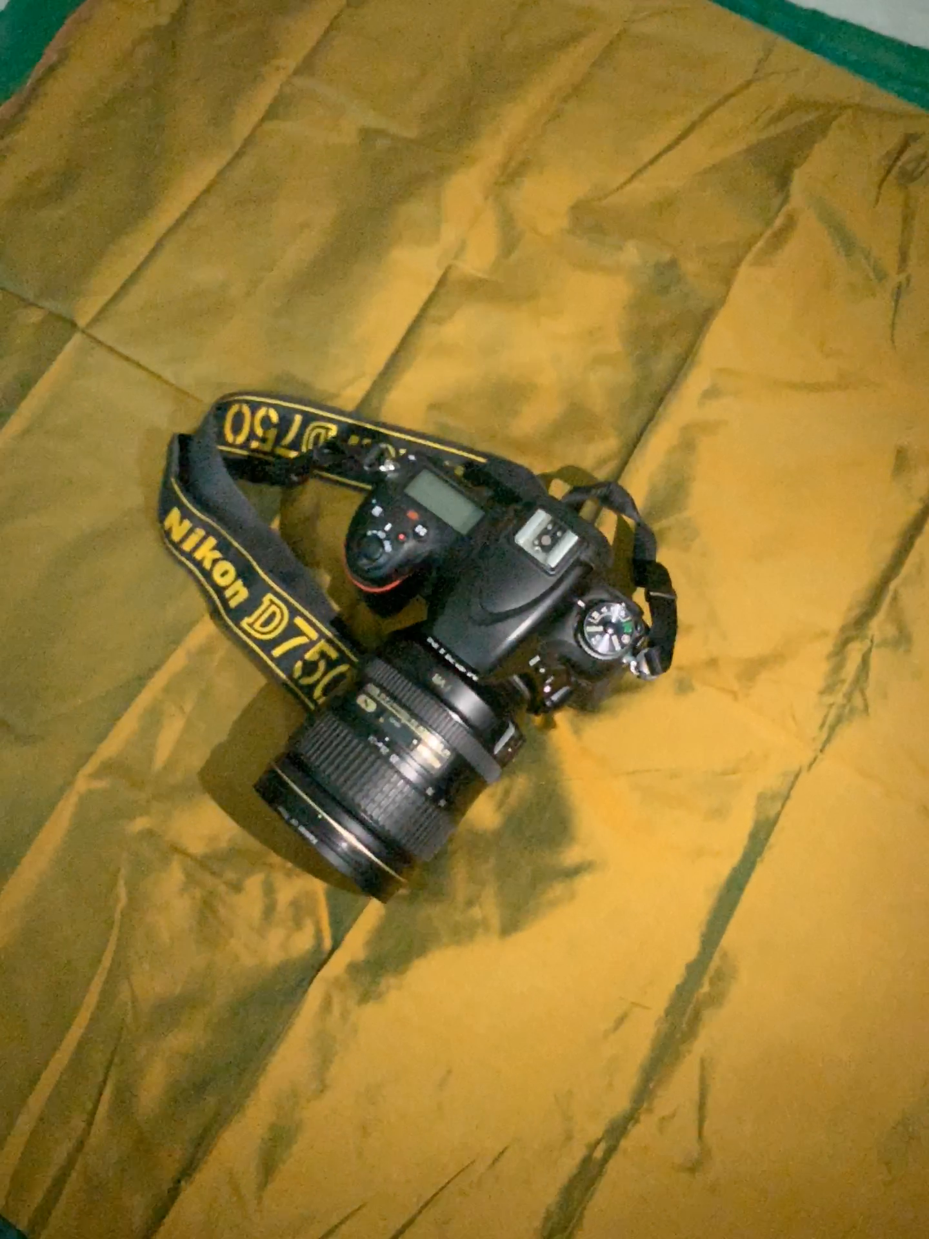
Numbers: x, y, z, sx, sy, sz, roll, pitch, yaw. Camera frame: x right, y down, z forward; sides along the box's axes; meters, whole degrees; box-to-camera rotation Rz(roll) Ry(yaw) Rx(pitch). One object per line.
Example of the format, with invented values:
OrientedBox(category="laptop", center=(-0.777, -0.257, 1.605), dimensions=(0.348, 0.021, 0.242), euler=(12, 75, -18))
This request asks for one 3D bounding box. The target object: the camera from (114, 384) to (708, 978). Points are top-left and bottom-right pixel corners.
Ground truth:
OrientedBox(category="camera", center=(-0.019, 0.028, 0.431), dimensions=(0.150, 0.101, 0.190), euler=(37, 78, 12))
